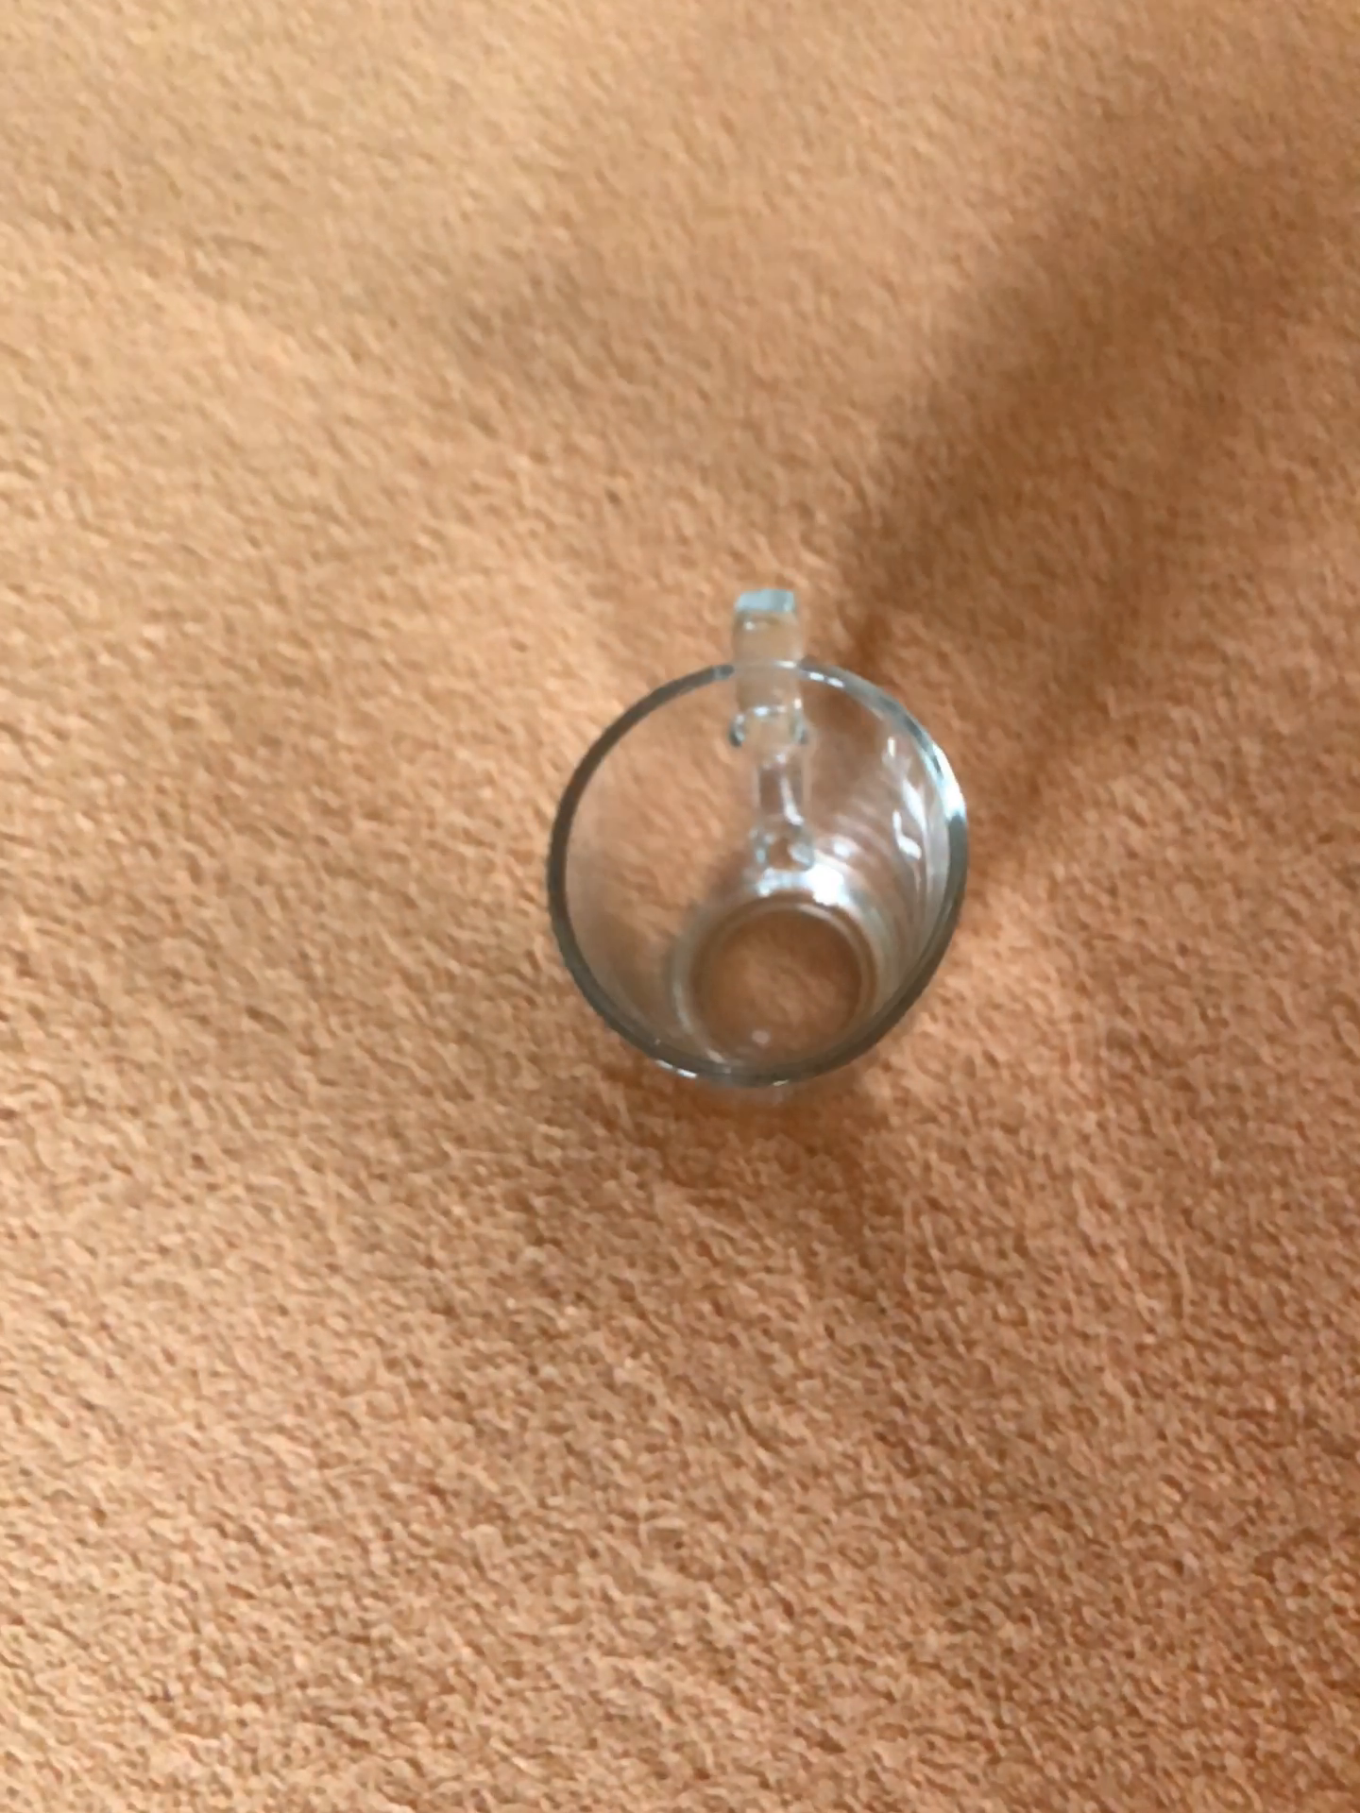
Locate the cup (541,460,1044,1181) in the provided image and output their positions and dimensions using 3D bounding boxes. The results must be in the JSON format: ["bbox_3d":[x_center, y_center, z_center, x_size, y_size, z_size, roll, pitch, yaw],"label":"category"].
[{"bbox_3d":[0.020,-0.007,0.271,0.070,0.090,0.100,-4,74,7],"label":"cup"}]
